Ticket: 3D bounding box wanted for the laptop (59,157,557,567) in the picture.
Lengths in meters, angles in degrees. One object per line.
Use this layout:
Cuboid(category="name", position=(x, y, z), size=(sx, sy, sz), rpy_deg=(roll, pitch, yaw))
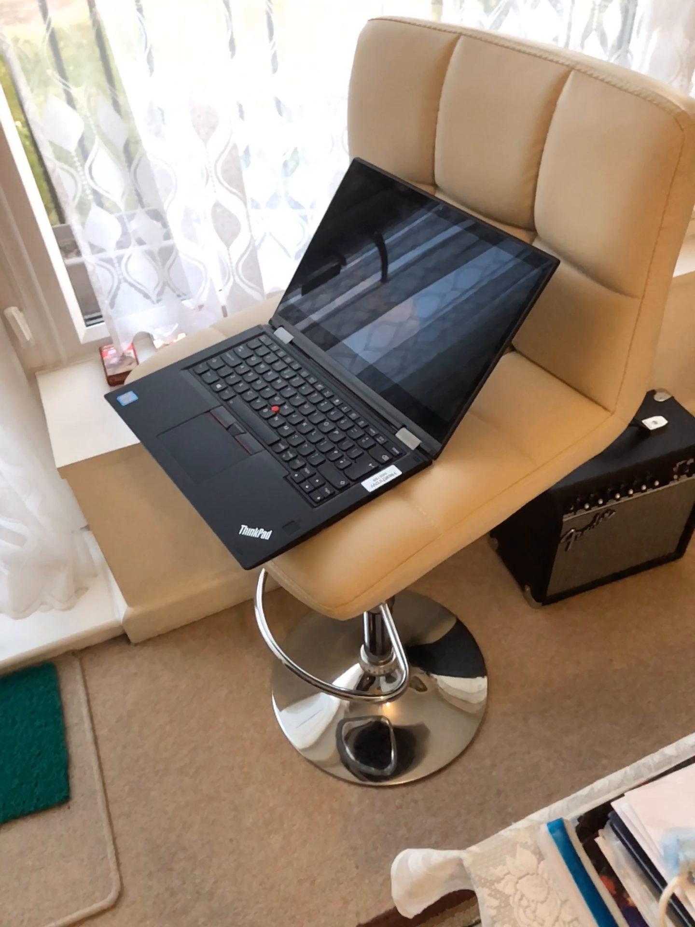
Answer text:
Cuboid(category="laptop", position=(-0.041, -0.133, 0.786), size=(0.367, 0.165, 0.309), rpy_deg=(-30, 50, -23))
